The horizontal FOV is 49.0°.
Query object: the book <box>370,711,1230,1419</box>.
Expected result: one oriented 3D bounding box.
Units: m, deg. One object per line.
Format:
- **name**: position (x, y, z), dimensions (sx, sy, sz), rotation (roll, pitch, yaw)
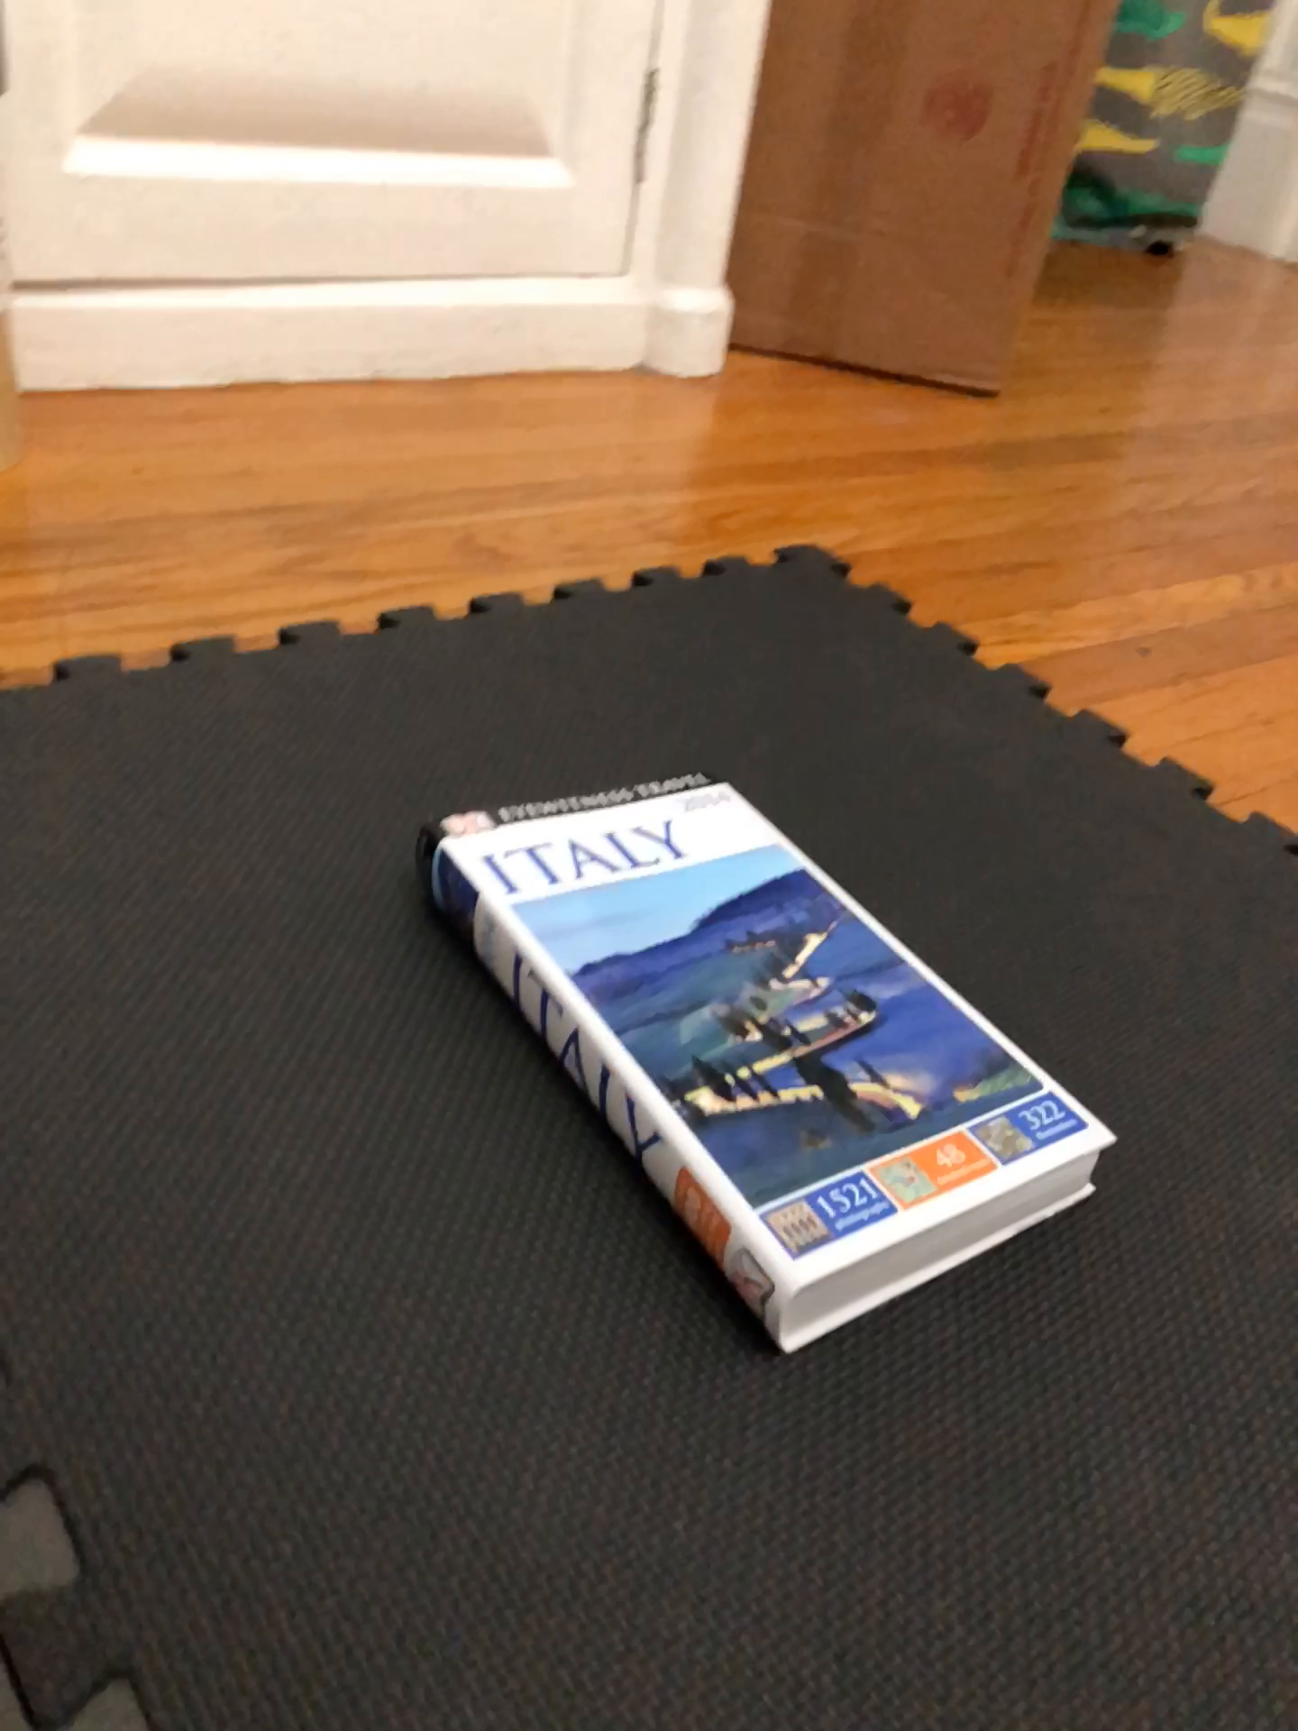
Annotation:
- **book**: position (0.036, 0.039, 0.474), dimensions (0.161, 0.040, 0.251), rotation (-15, 42, -32)
